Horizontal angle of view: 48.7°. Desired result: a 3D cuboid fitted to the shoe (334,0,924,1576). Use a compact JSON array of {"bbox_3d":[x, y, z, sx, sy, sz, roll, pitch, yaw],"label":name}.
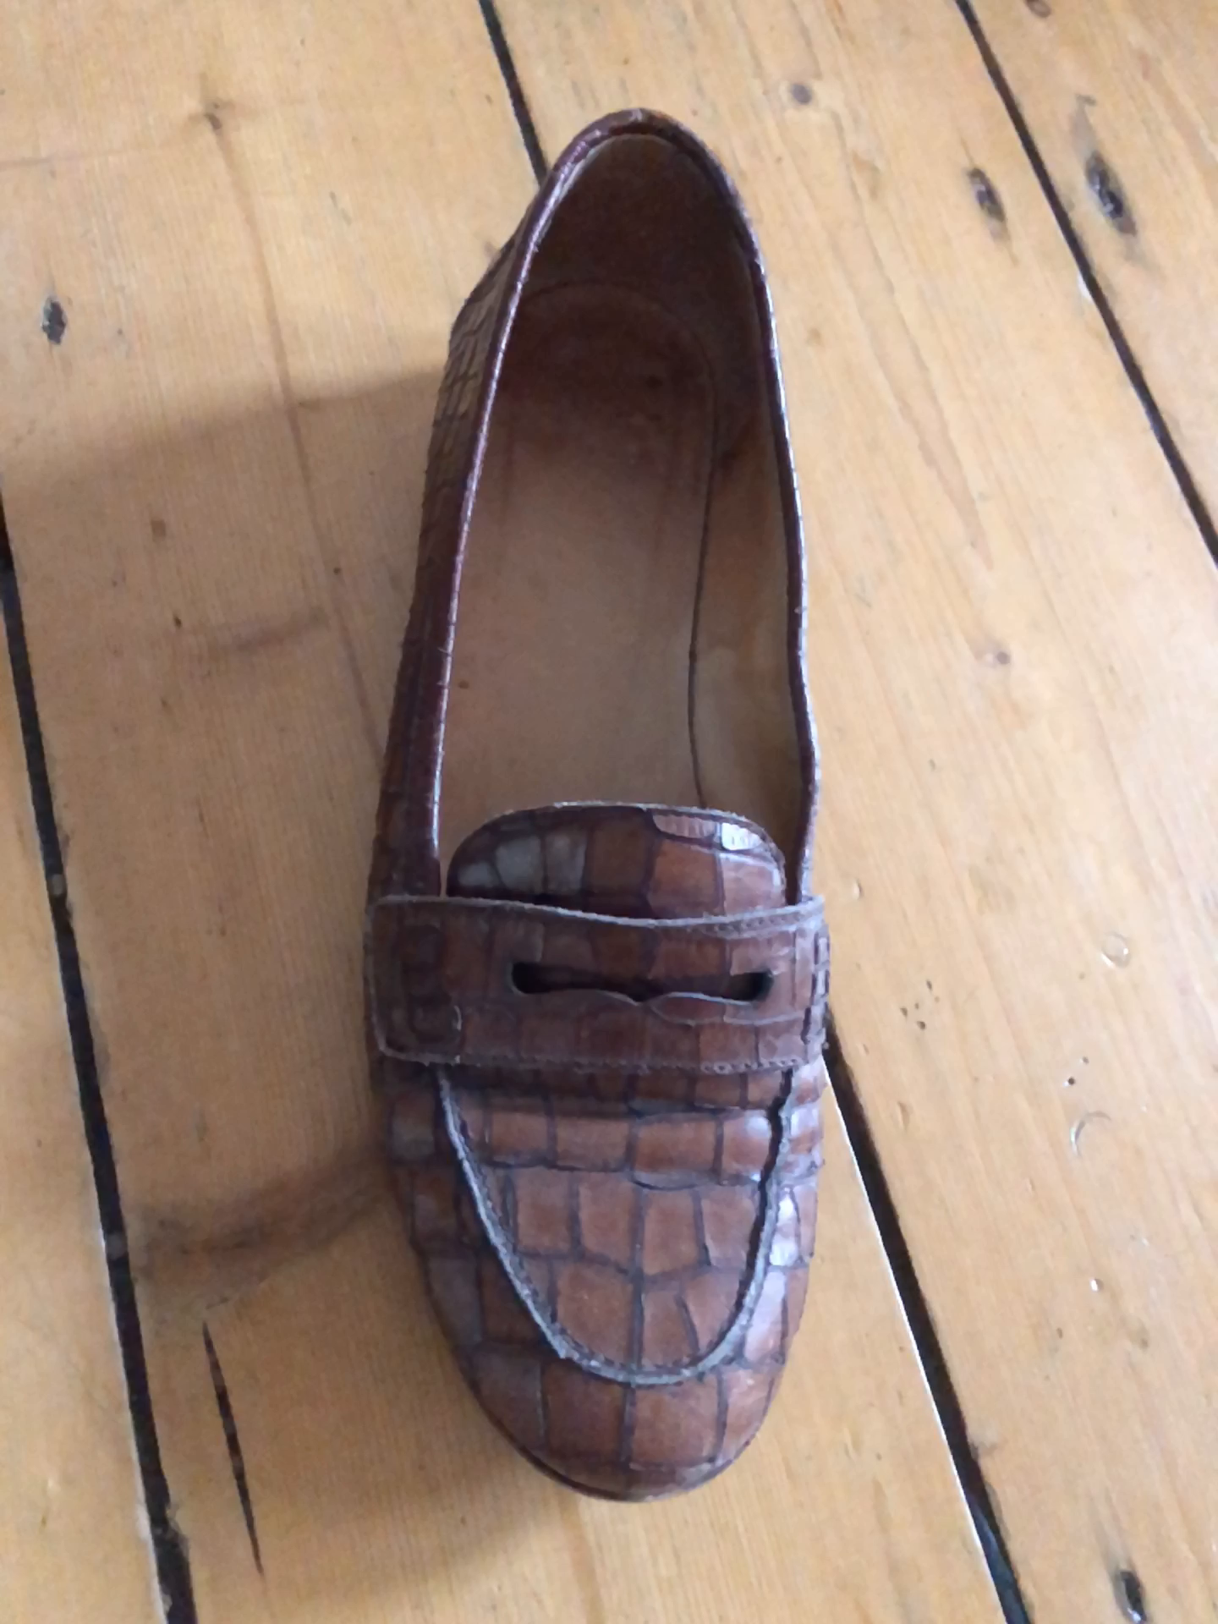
[{"bbox_3d":[-0.009,-0.035,0.281,0.080,0.100,0.321,1,70,-9],"label":"shoe"}]
